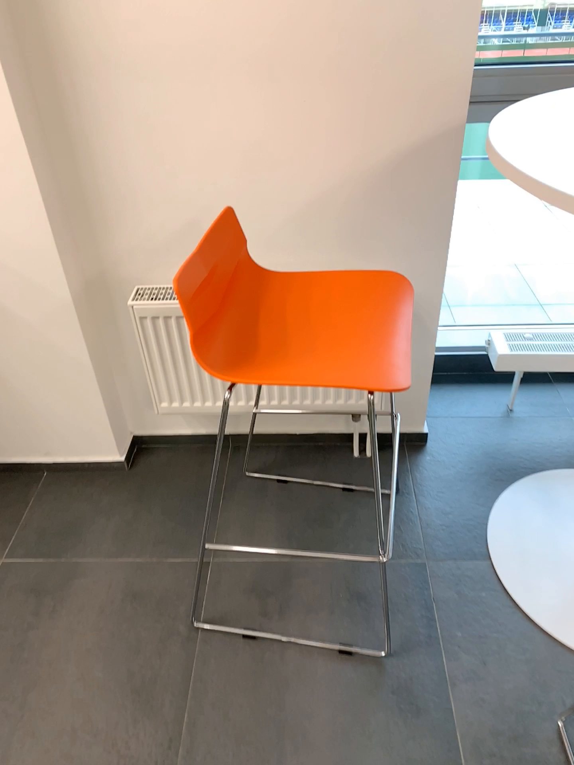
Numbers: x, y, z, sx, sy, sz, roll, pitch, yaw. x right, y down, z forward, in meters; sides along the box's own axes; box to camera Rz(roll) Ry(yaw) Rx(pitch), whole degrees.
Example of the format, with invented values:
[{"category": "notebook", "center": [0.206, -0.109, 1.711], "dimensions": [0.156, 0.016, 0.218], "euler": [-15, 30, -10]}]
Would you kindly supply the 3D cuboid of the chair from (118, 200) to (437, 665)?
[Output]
[{"category": "chair", "center": [0.039, 0.122, 1.395], "dimensions": [0.500, 0.905, 0.573], "euler": [5, 37, 9]}]
